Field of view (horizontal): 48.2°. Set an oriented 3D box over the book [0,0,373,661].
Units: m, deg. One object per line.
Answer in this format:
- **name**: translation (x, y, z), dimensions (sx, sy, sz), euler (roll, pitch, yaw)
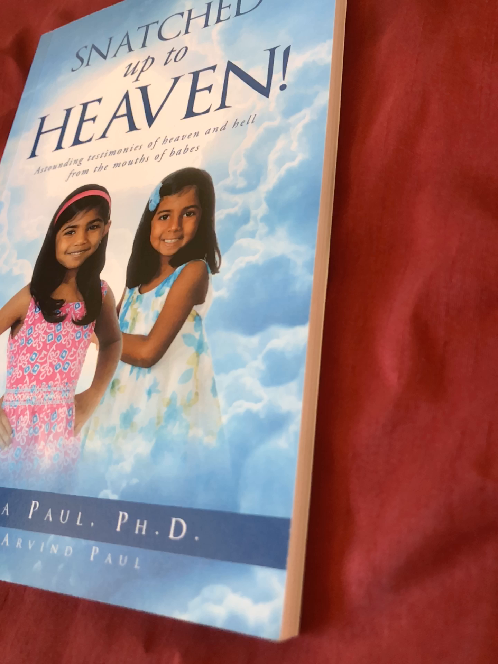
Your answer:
- **book**: translation (-0.036, -0.030, 0.182), dimensions (0.140, 0.020, 0.212), euler (-3, 68, 28)
